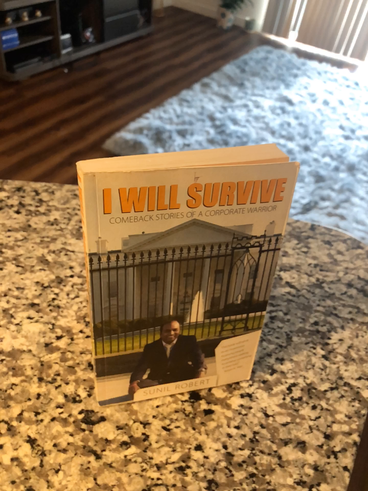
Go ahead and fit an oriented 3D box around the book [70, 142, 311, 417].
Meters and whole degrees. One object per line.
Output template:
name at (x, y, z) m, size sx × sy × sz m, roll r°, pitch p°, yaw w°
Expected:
book at (-0.001, 0.030, 0.285) m, size 0.134 × 0.191 × 0.032 m, roll -7°, pitch 34°, yaw -18°
